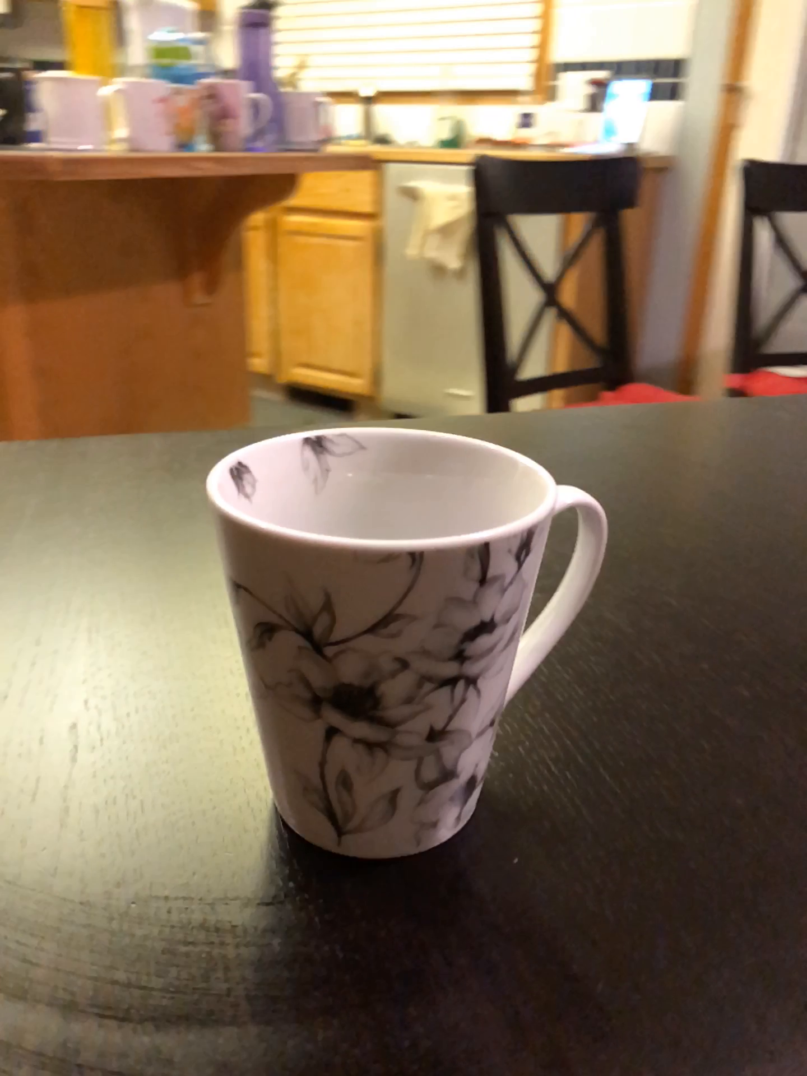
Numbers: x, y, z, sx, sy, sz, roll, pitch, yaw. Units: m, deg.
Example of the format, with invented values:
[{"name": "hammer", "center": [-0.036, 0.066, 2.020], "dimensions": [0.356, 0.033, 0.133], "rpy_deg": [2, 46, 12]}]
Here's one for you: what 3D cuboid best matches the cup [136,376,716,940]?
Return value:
[{"name": "cup", "center": [0.002, 0.019, 0.261], "dimensions": [0.120, 0.100, 0.100], "rpy_deg": [-13, 27, -31]}]
